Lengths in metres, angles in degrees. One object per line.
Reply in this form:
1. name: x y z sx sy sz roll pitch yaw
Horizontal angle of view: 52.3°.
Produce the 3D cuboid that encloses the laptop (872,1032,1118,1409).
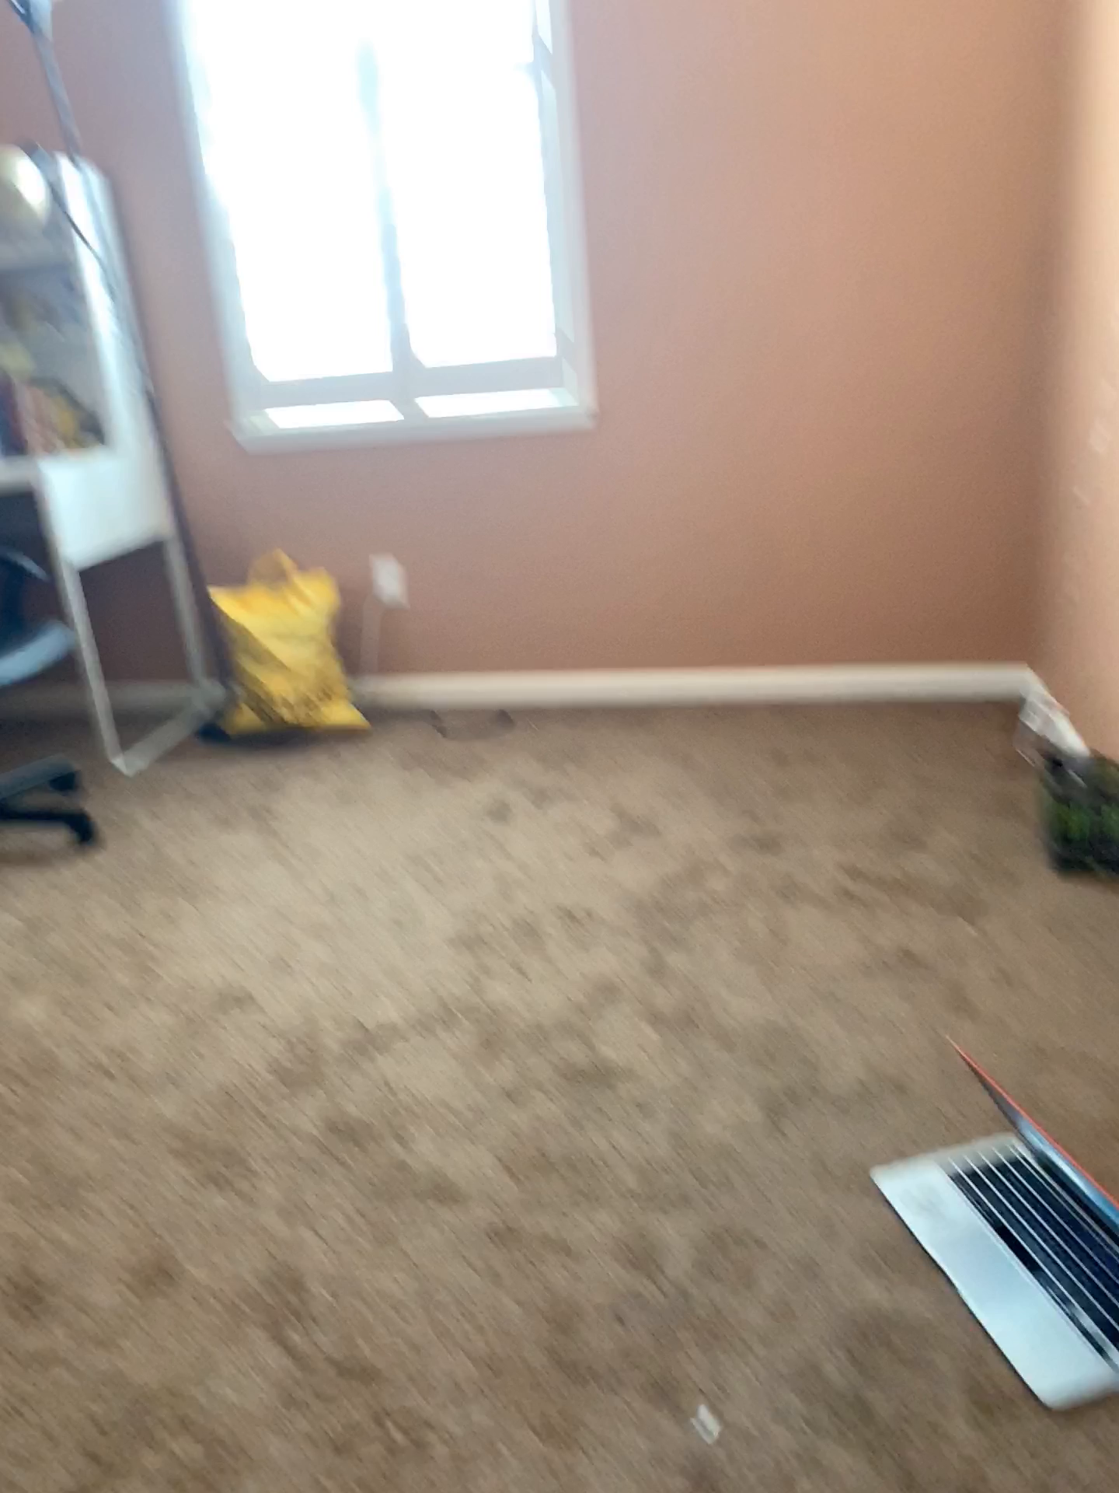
1. laptop: 0.471 0.445 1.125 0.193 0.148 0.300 -9 20 -12
